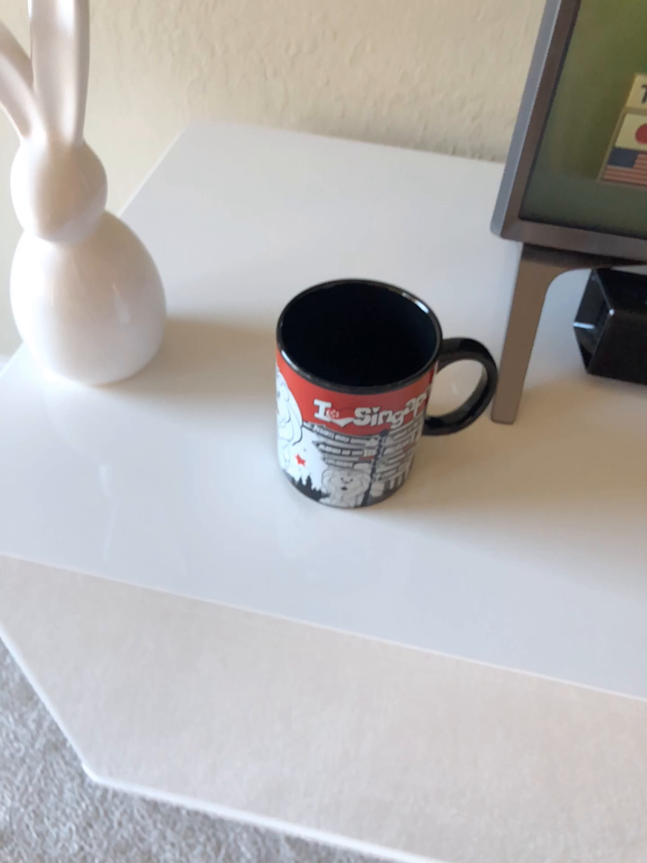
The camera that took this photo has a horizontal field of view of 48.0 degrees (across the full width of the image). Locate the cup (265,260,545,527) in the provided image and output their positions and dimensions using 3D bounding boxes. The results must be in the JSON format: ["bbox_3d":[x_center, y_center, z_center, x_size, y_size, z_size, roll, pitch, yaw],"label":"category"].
[{"bbox_3d":[0.034,-0.020,0.392,0.120,0.110,0.080,-5,49,-8],"label":"cup"}]
